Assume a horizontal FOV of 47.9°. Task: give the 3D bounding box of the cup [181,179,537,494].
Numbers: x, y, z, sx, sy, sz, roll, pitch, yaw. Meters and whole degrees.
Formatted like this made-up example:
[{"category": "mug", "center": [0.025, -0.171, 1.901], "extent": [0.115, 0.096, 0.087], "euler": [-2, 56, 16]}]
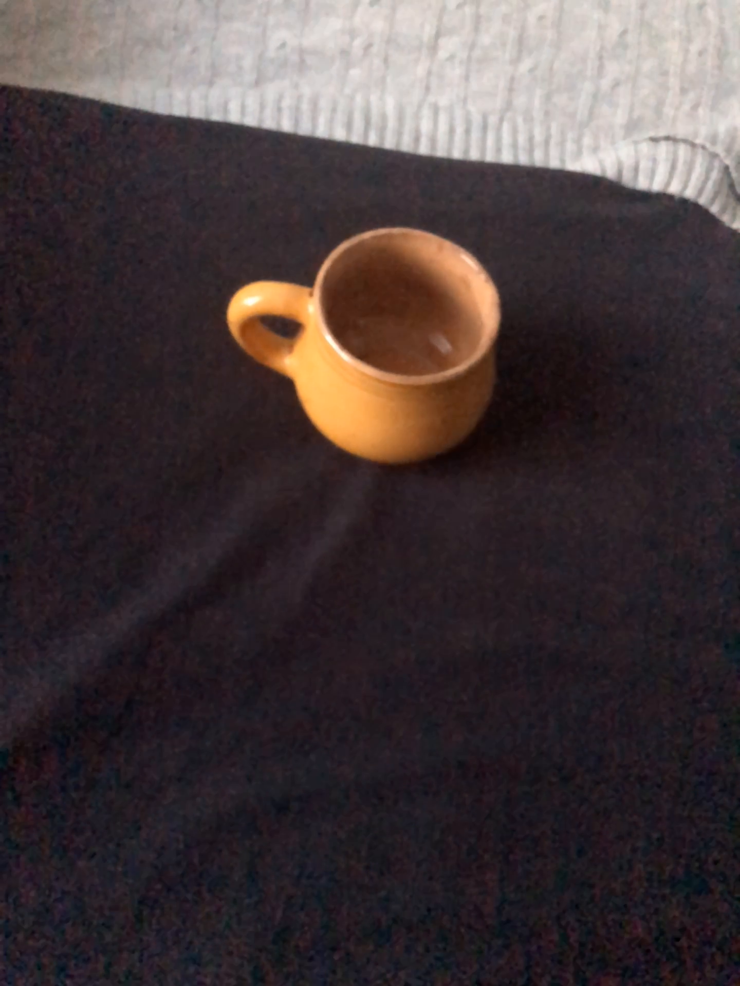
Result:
[{"category": "cup", "center": [-0.003, -0.062, 0.338], "extent": [0.119, 0.058, 0.082], "euler": [14, 62, 0]}]
